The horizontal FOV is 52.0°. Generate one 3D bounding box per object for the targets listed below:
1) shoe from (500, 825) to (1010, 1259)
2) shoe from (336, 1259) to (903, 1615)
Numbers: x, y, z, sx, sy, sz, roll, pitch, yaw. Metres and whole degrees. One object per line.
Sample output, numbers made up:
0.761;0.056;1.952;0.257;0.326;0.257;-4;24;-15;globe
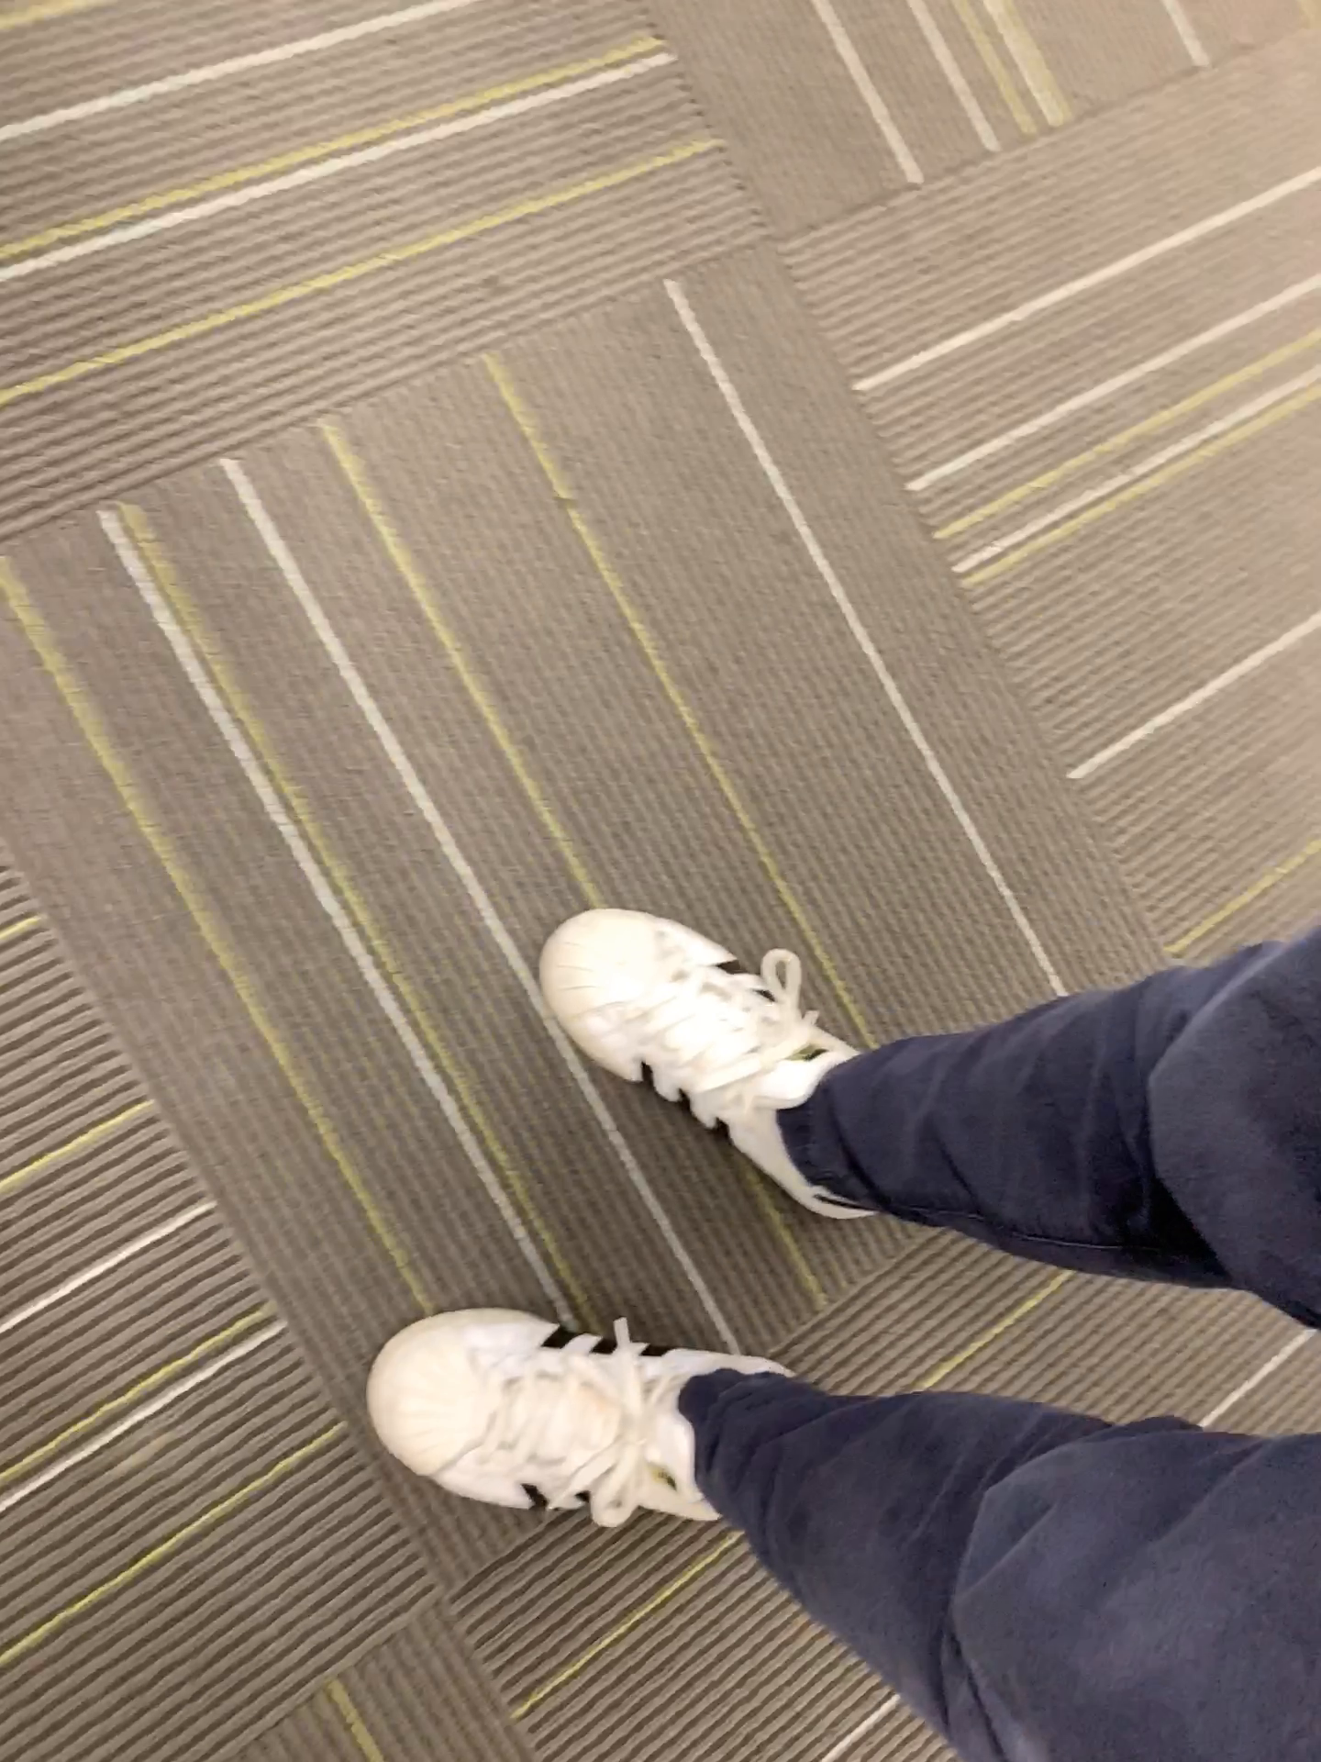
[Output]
0.053;0.095;0.779;0.258;0.104;0.105;37;72;-10;shoe
-0.022;0.291;0.717;0.262;0.104;0.108;19;76;-15;shoe
